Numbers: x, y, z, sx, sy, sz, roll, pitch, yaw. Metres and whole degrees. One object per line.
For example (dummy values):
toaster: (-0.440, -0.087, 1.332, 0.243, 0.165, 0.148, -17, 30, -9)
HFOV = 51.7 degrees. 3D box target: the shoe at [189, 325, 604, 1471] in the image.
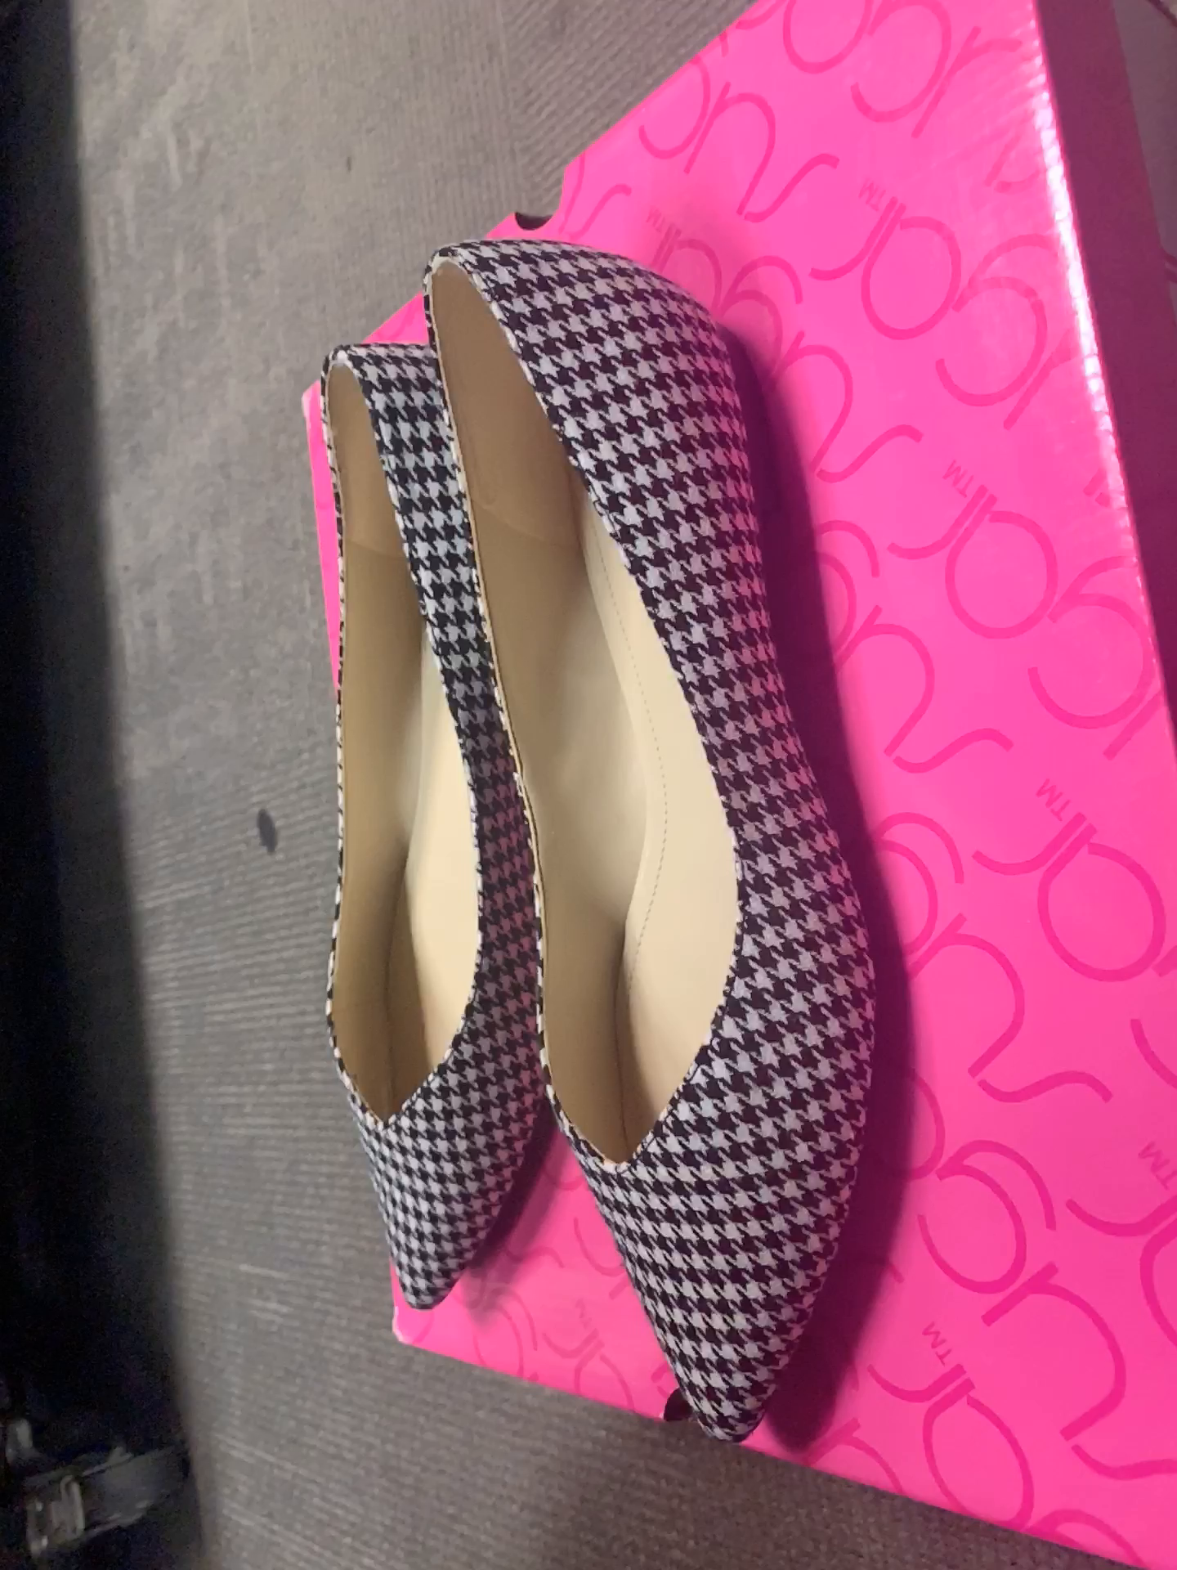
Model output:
shoe: (-0.056, 0.027, 0.331, 0.081, 0.060, 0.270, 11, 98, 48)

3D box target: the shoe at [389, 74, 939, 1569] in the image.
shoe: (0.011, 0.006, 0.273, 0.081, 0.060, 0.280, -11, 82, 48)
